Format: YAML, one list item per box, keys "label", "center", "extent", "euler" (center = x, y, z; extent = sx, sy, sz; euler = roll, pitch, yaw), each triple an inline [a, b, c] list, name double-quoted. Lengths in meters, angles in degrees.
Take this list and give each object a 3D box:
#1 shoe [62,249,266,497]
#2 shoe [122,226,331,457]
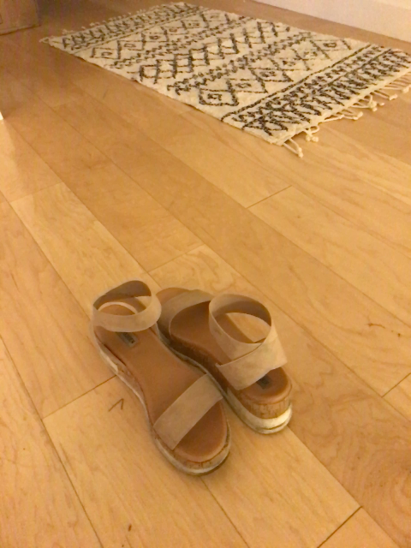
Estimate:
- label: "shoe"
  center: [-0.061, 0.105, 0.560]
  extent: [0.110, 0.109, 0.281]
  euler: [-28, 49, -23]
- label: "shoe"
  center: [0.014, 0.072, 0.591]
  extent: [0.110, 0.119, 0.281]
  euler: [-28, 49, -23]
